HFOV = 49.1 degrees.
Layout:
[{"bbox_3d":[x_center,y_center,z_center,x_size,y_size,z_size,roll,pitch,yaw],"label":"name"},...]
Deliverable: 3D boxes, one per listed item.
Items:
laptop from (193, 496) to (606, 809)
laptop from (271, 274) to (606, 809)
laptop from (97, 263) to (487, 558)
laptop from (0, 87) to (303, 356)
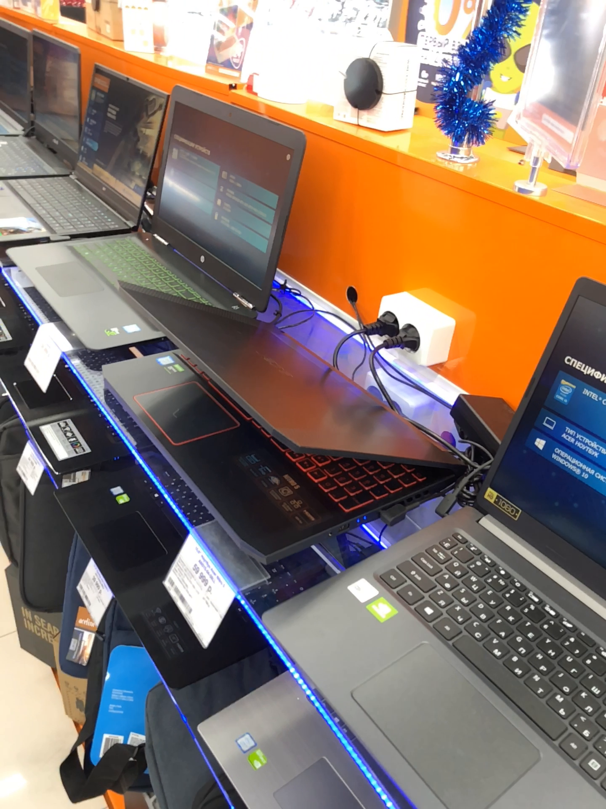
[{"bbox_3d":[0.130,0.325,0.638,0.297,0.220,0.405,-16,37,-34],"label":"laptop"},{"bbox_3d":[0.208,0.106,0.418,0.313,0.226,0.343,-17,38,-33],"label":"laptop"},{"bbox_3d":[-0.032,-0.029,0.721,0.248,0.103,0.359,-16,38,-33],"label":"laptop"},{"bbox_3d":[-0.244,-0.306,1.000,0.310,0.250,0.416,-15,37,-33],"label":"laptop"}]
